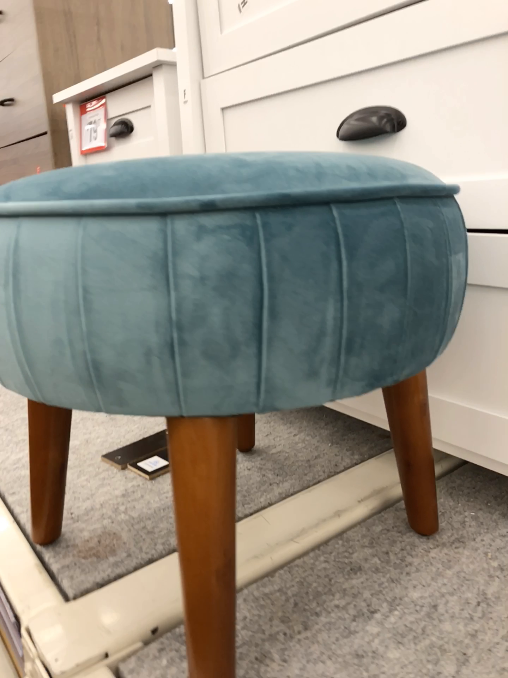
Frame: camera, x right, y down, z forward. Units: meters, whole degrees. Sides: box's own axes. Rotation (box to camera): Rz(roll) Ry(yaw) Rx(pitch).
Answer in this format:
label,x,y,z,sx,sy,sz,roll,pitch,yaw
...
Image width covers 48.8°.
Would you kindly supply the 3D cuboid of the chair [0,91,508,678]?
label,x,y,z,sx,sy,sz,roll,pitch,yaw
chair,-0.016,0.022,0.538,0.370,0.399,0.371,-12,17,-35
